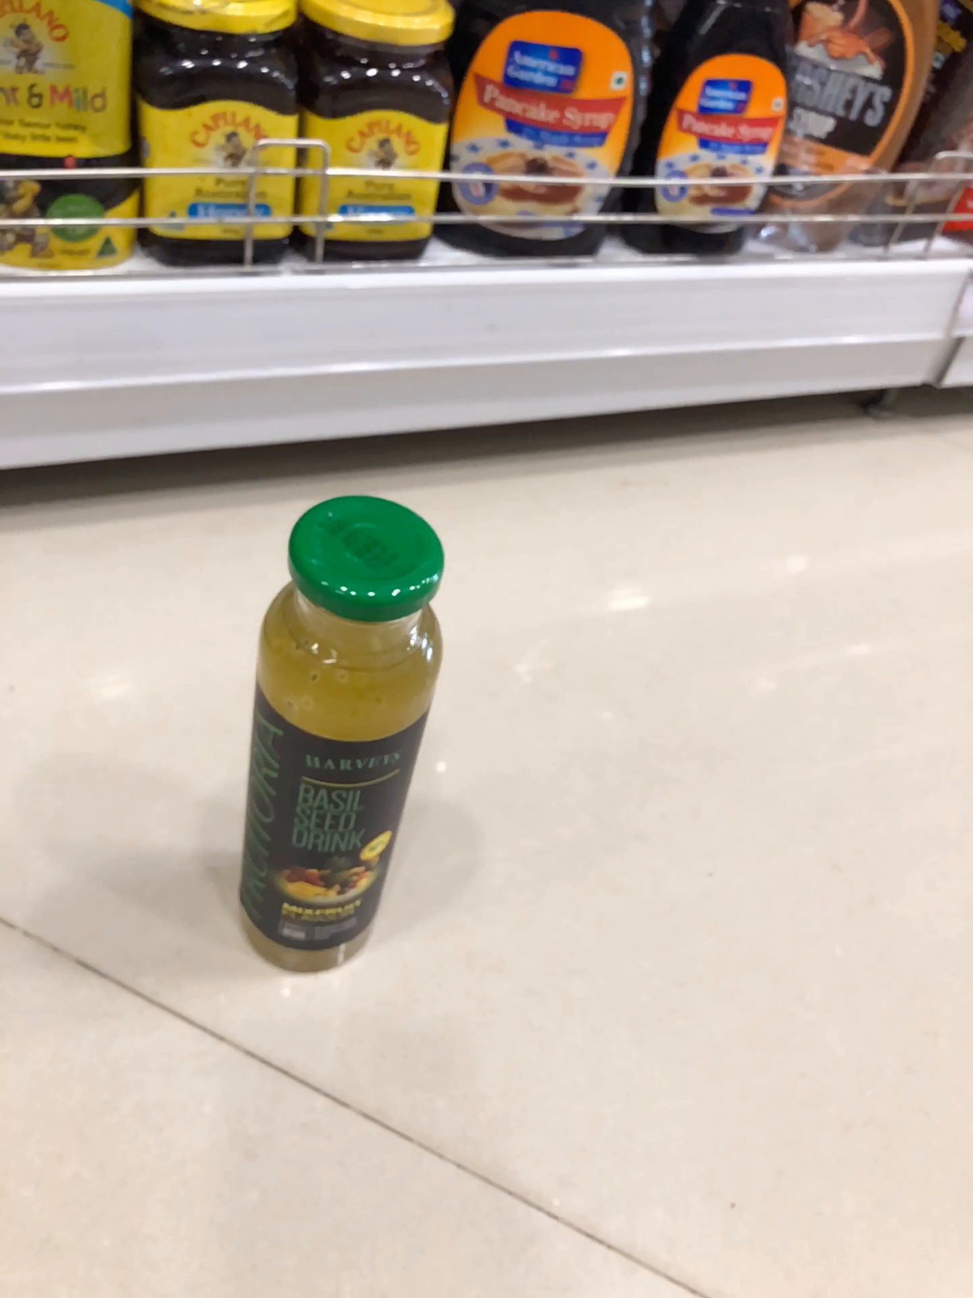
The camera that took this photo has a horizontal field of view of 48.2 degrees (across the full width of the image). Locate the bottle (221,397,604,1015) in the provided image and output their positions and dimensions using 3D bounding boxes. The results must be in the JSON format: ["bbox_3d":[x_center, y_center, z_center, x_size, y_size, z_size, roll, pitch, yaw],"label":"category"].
[{"bbox_3d":[-0.033,0.032,0.336,0.080,0.199,0.070,7,45,-9],"label":"bottle"}]
